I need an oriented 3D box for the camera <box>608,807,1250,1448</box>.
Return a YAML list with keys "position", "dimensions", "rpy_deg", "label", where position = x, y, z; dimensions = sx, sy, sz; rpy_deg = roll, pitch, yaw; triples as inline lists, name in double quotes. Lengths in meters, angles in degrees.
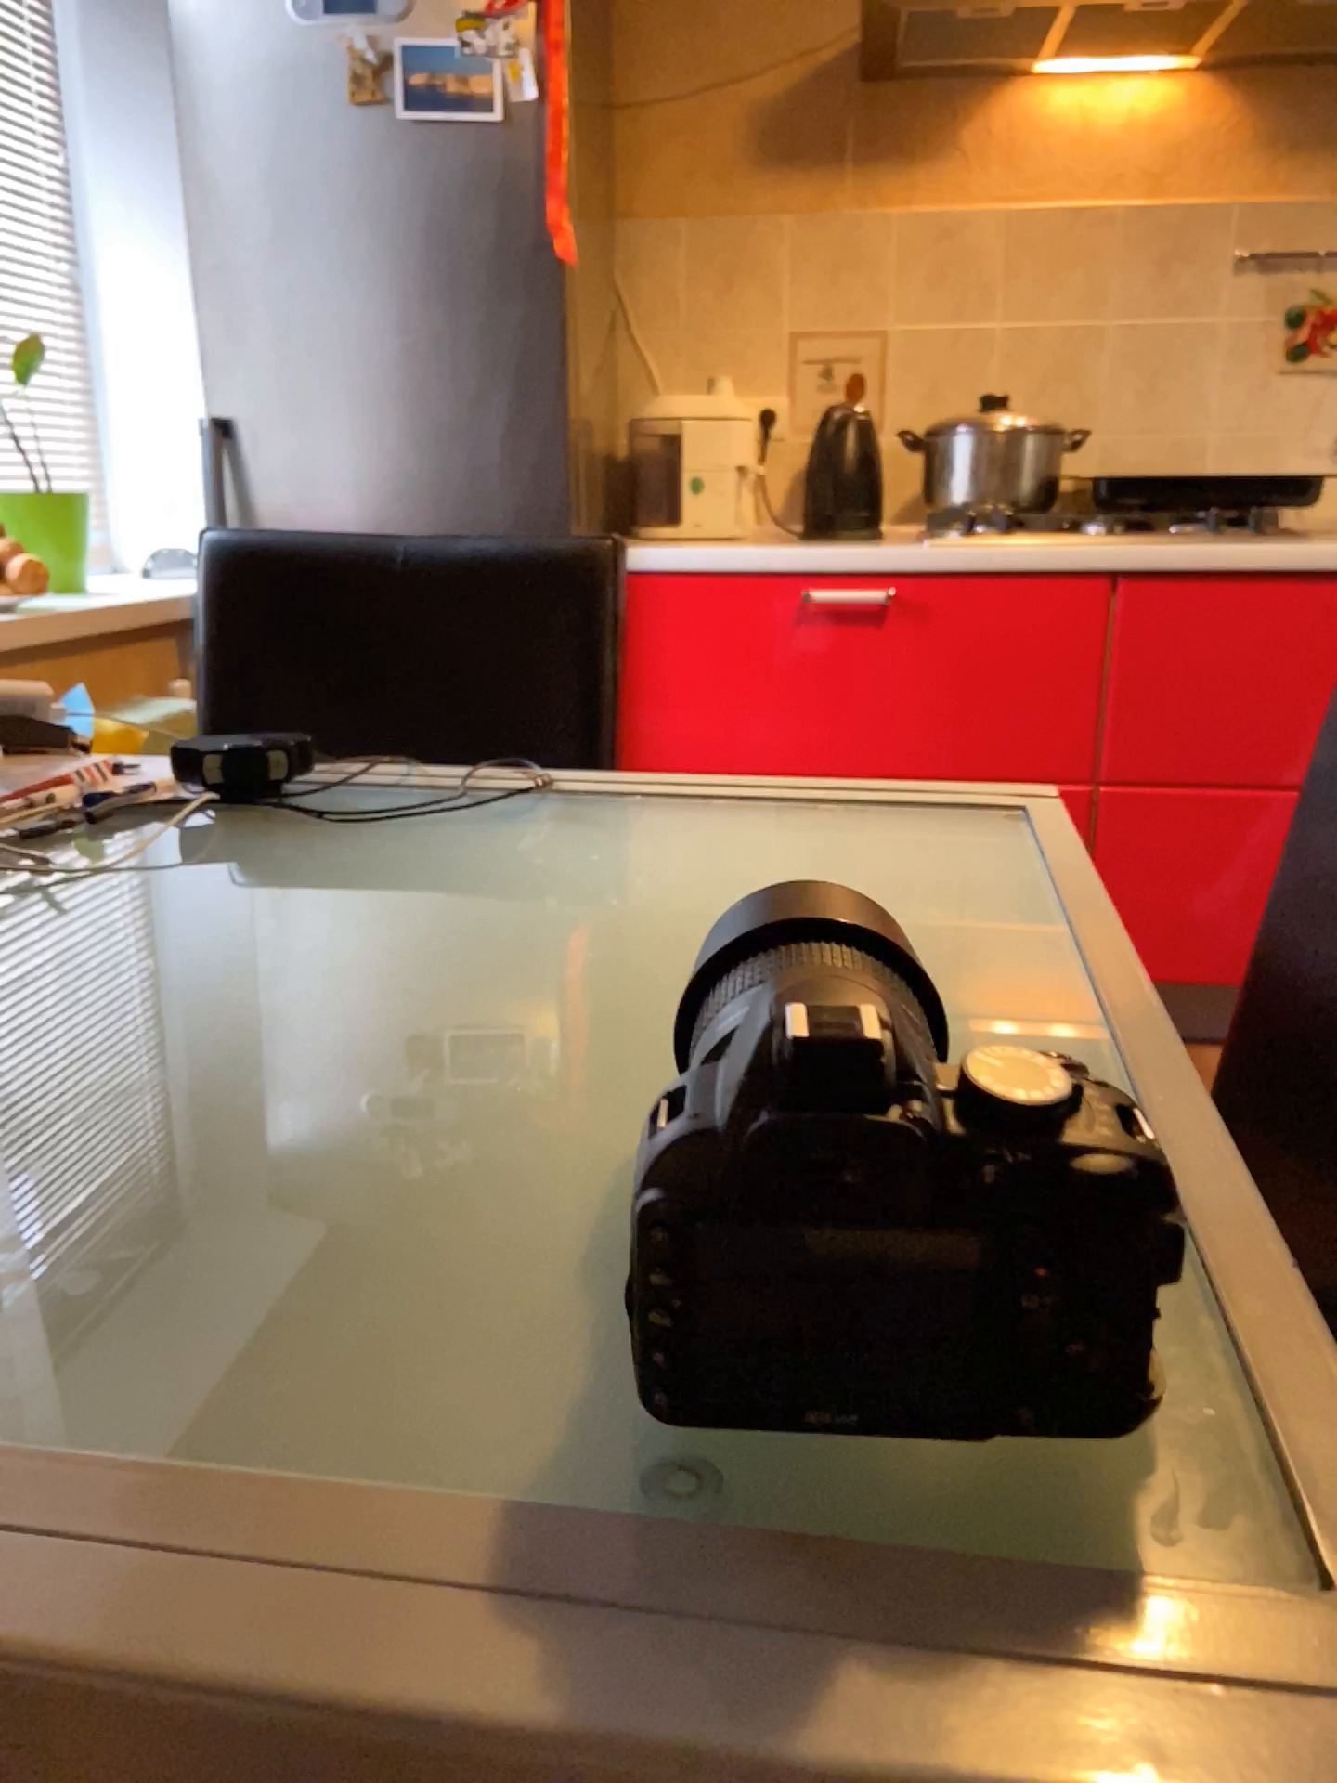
- position: [0.060, 0.048, 0.403]
  dimensions: [0.134, 0.100, 0.209]
  rpy_deg: [1, 16, 3]
  label: "camera"
